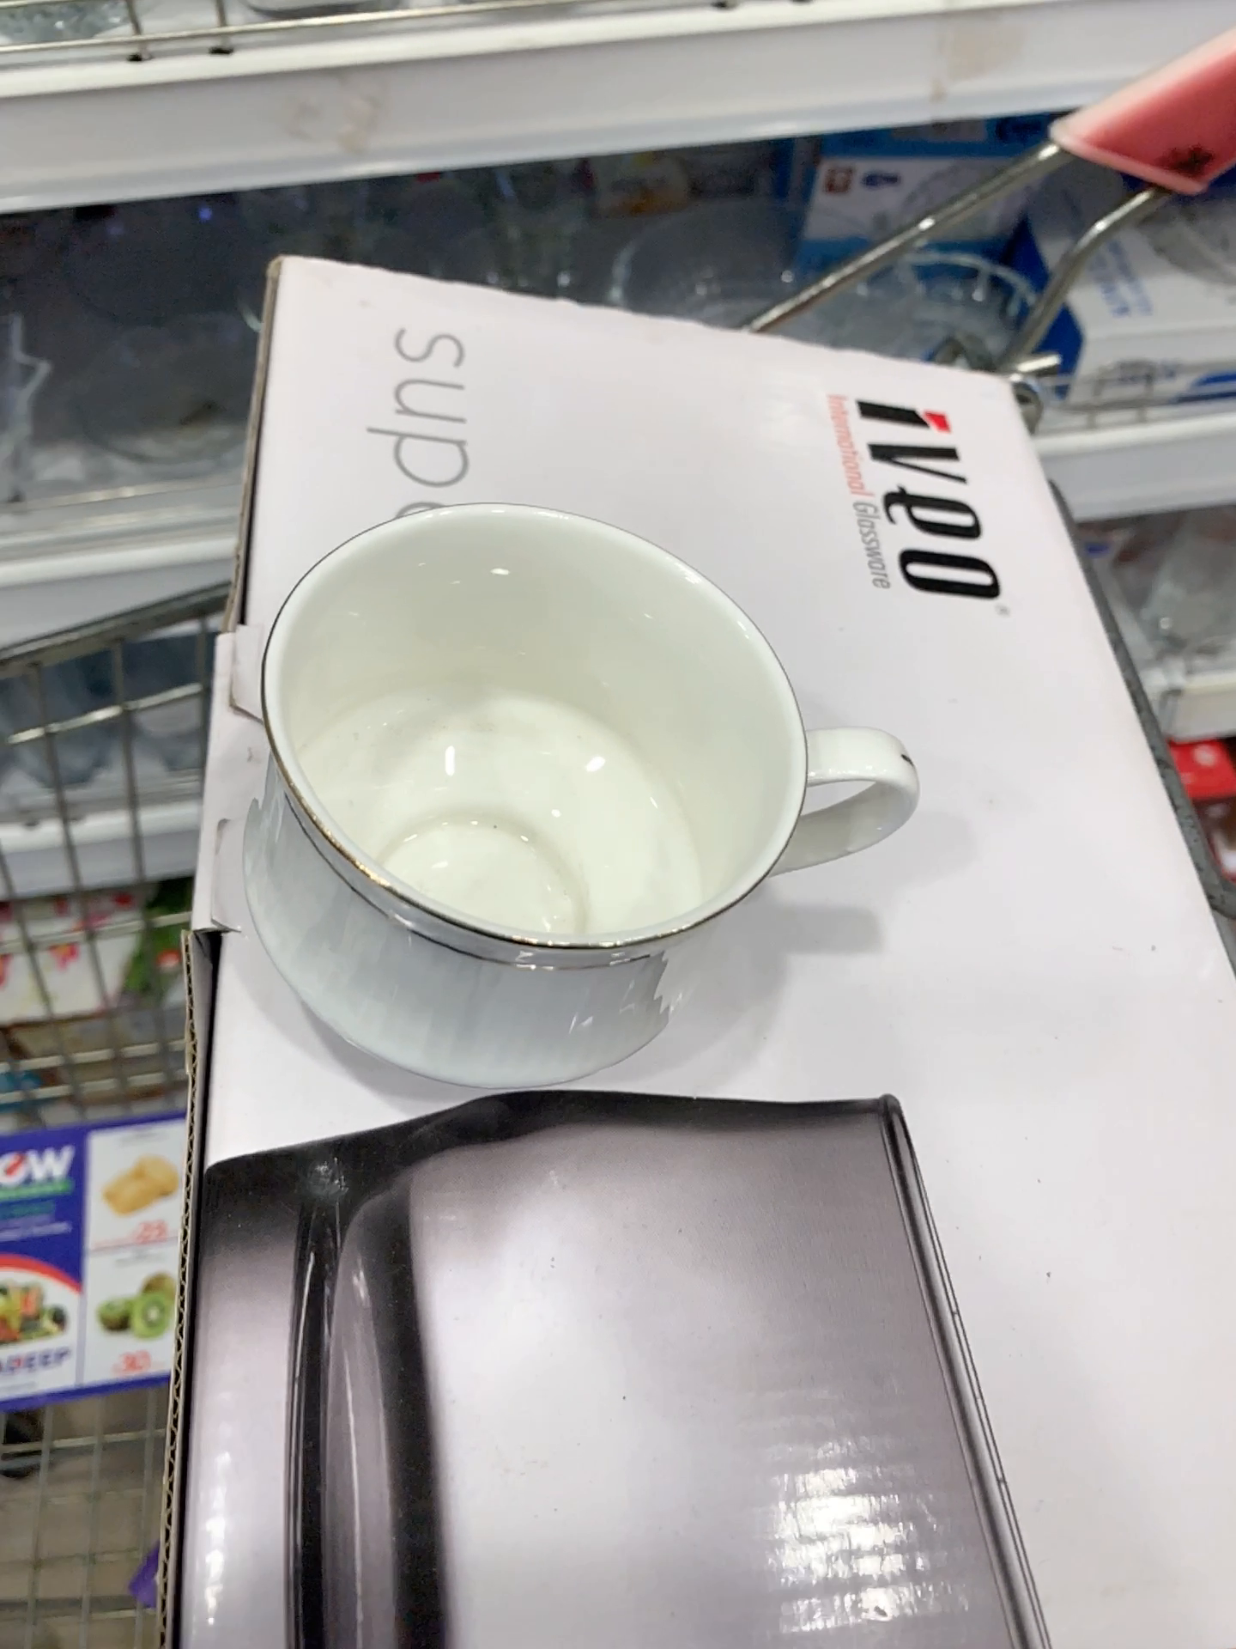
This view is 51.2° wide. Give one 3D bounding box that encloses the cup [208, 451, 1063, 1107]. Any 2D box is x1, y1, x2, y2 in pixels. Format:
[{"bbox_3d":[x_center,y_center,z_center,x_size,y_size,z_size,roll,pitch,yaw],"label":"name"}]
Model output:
[{"bbox_3d":[-0.003,-0.001,0.168,0.090,0.050,0.060,4,57,-20],"label":"cup"}]
